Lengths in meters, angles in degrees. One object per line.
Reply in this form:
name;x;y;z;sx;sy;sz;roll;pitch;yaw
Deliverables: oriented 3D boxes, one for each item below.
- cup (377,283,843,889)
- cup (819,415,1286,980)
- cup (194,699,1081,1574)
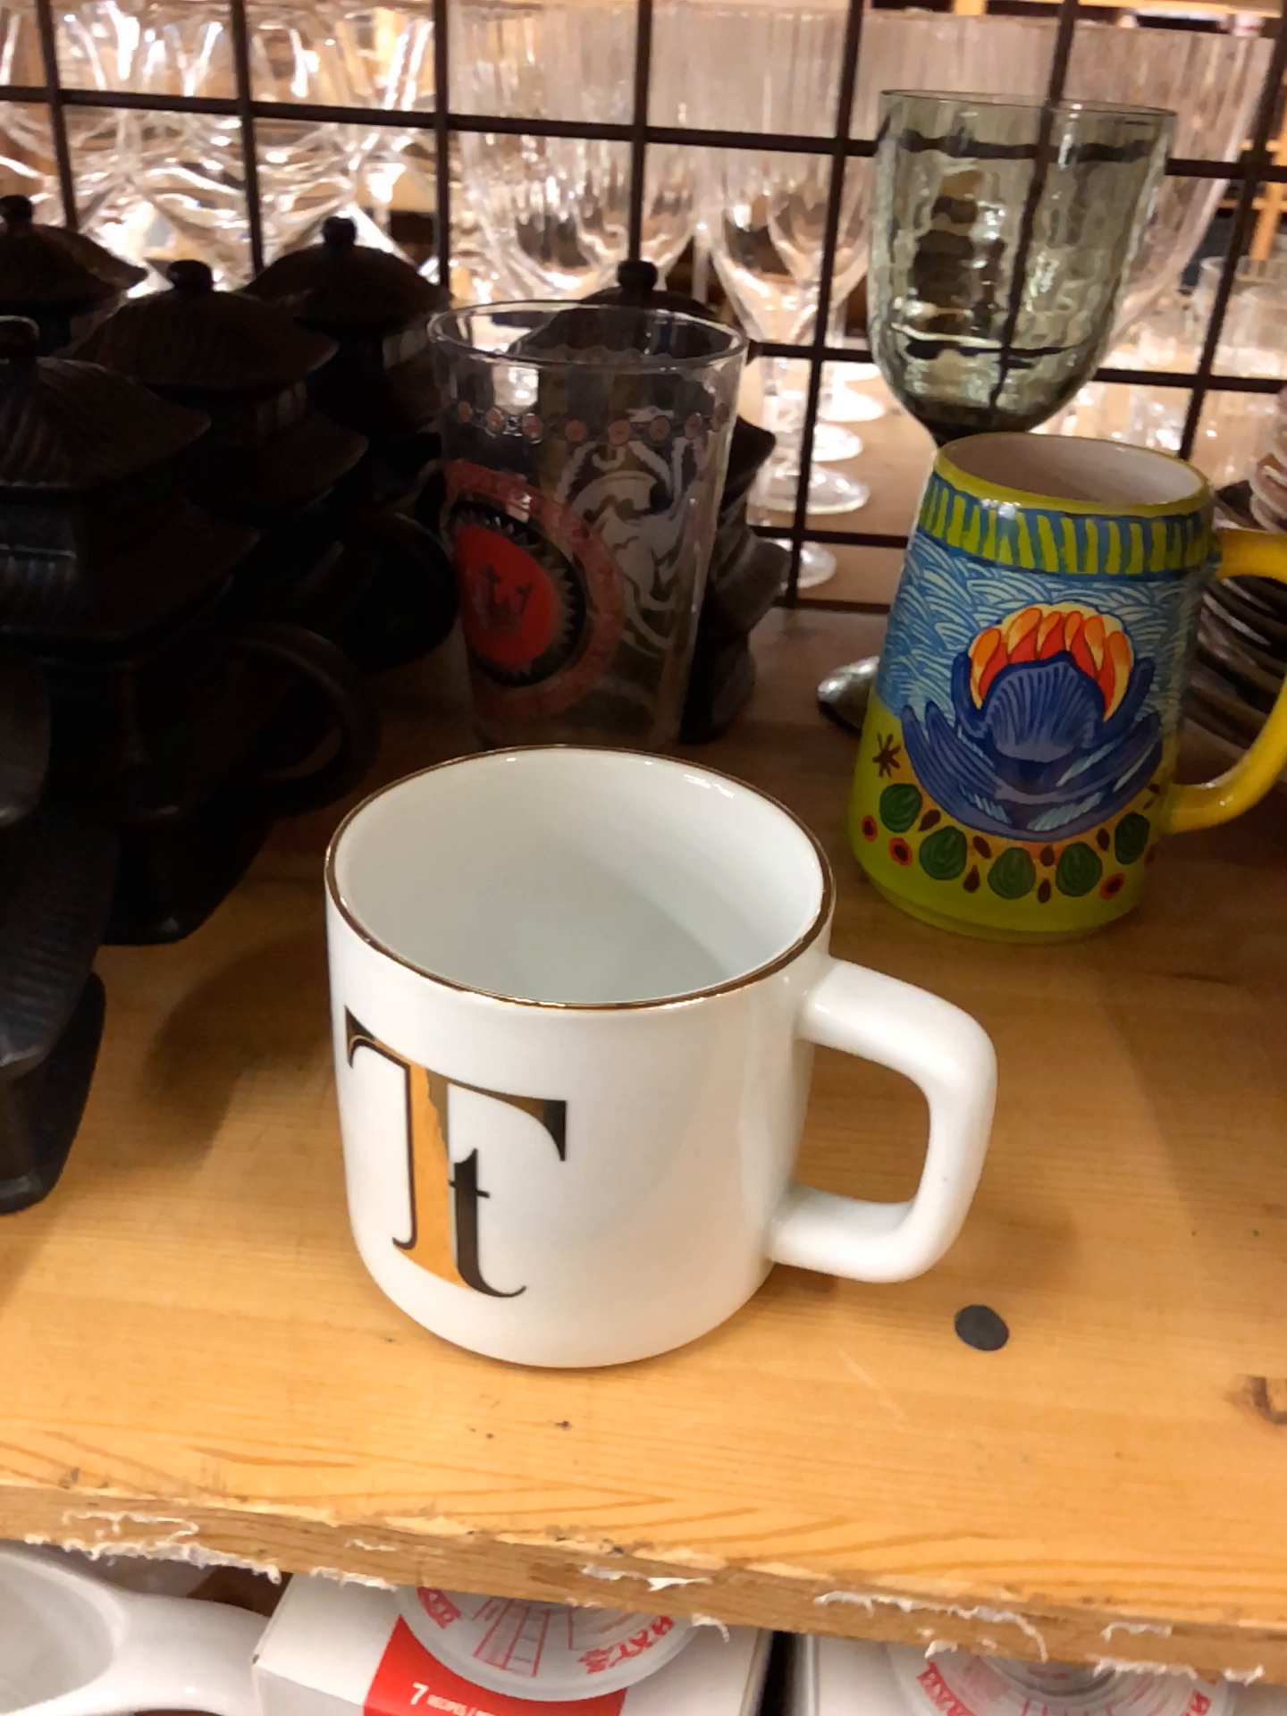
cup;-0.012;-0.081;0.405;0.079;0.134;0.093;-25;41;-38
cup;0.100;-0.043;0.354;0.093;0.104;0.079;9;31;11
cup;-0.001;0.040;0.265;0.123;0.084;0.089;20;35;26
